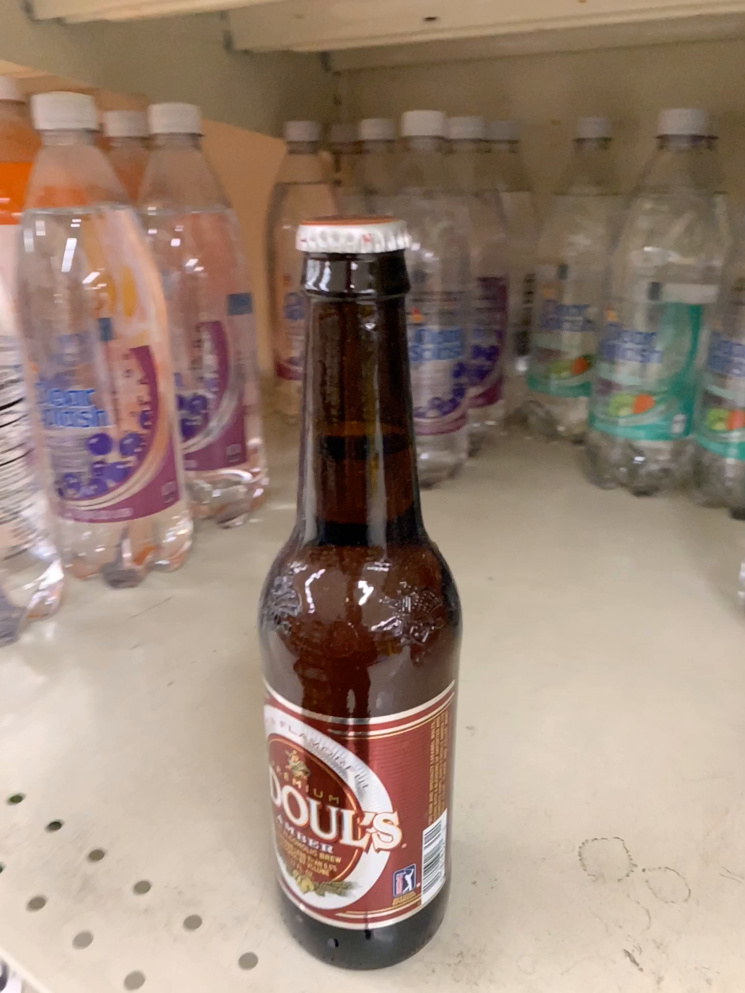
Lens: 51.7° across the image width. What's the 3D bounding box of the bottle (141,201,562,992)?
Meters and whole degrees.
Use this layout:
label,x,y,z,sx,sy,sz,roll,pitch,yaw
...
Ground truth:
label,x,y,z,sx,sy,sz,roll,pitch,yaw
bottle,-0.003,0.034,0.225,0.070,0.219,0.070,-1,24,0
